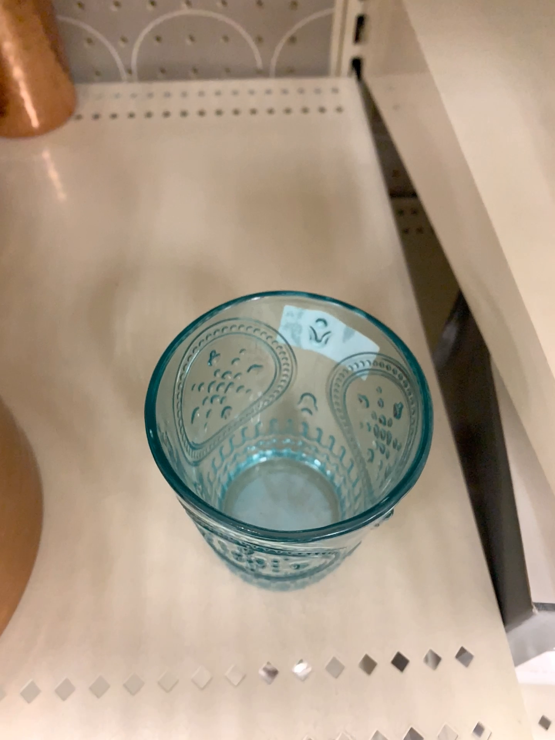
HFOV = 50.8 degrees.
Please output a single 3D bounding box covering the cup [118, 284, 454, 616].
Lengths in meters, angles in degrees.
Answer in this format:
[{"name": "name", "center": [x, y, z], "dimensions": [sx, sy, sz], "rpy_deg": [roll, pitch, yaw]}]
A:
[{"name": "cup", "center": [0.000, 0.031, 0.195], "dimensions": [0.078, 0.091, 0.076], "rpy_deg": [0, 58, -1]}]
